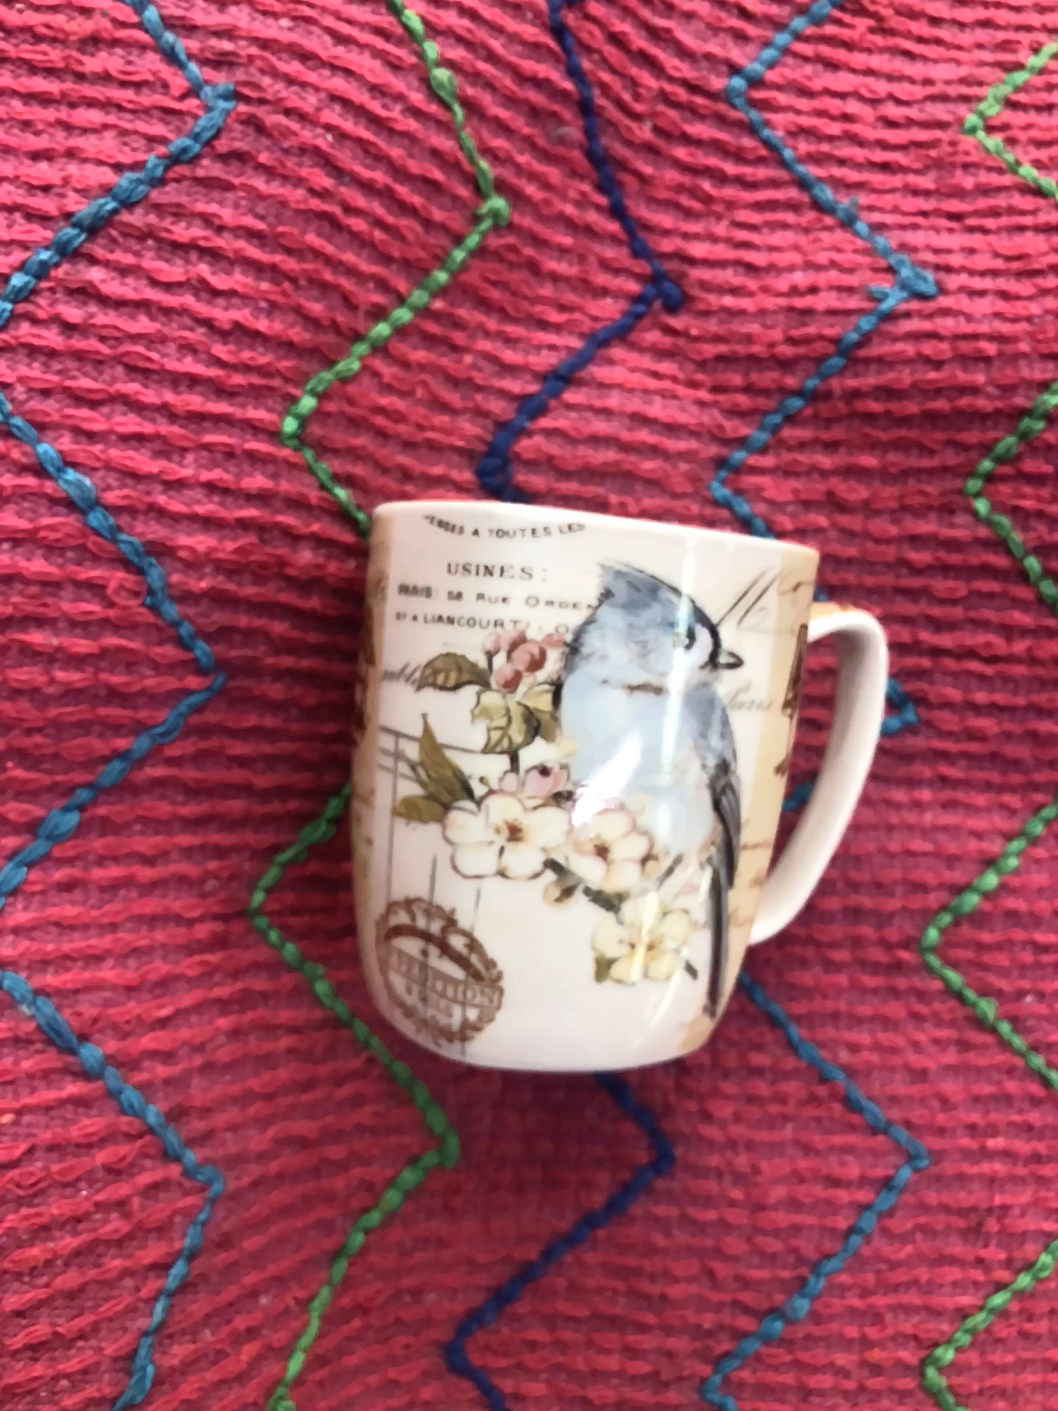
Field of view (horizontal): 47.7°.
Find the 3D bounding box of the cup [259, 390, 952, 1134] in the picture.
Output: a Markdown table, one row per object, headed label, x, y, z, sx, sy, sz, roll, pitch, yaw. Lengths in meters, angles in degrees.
| label | x | y | z | sx | sy | sz | roll | pitch | yaw |
| --- | --- | --- | --- | --- | --- | --- | --- | --- | --- |
| cup | 0.012 | 0.005 | 0.232 | 0.110 | 0.070 | 0.110 | -4 | 97 | -29 |
